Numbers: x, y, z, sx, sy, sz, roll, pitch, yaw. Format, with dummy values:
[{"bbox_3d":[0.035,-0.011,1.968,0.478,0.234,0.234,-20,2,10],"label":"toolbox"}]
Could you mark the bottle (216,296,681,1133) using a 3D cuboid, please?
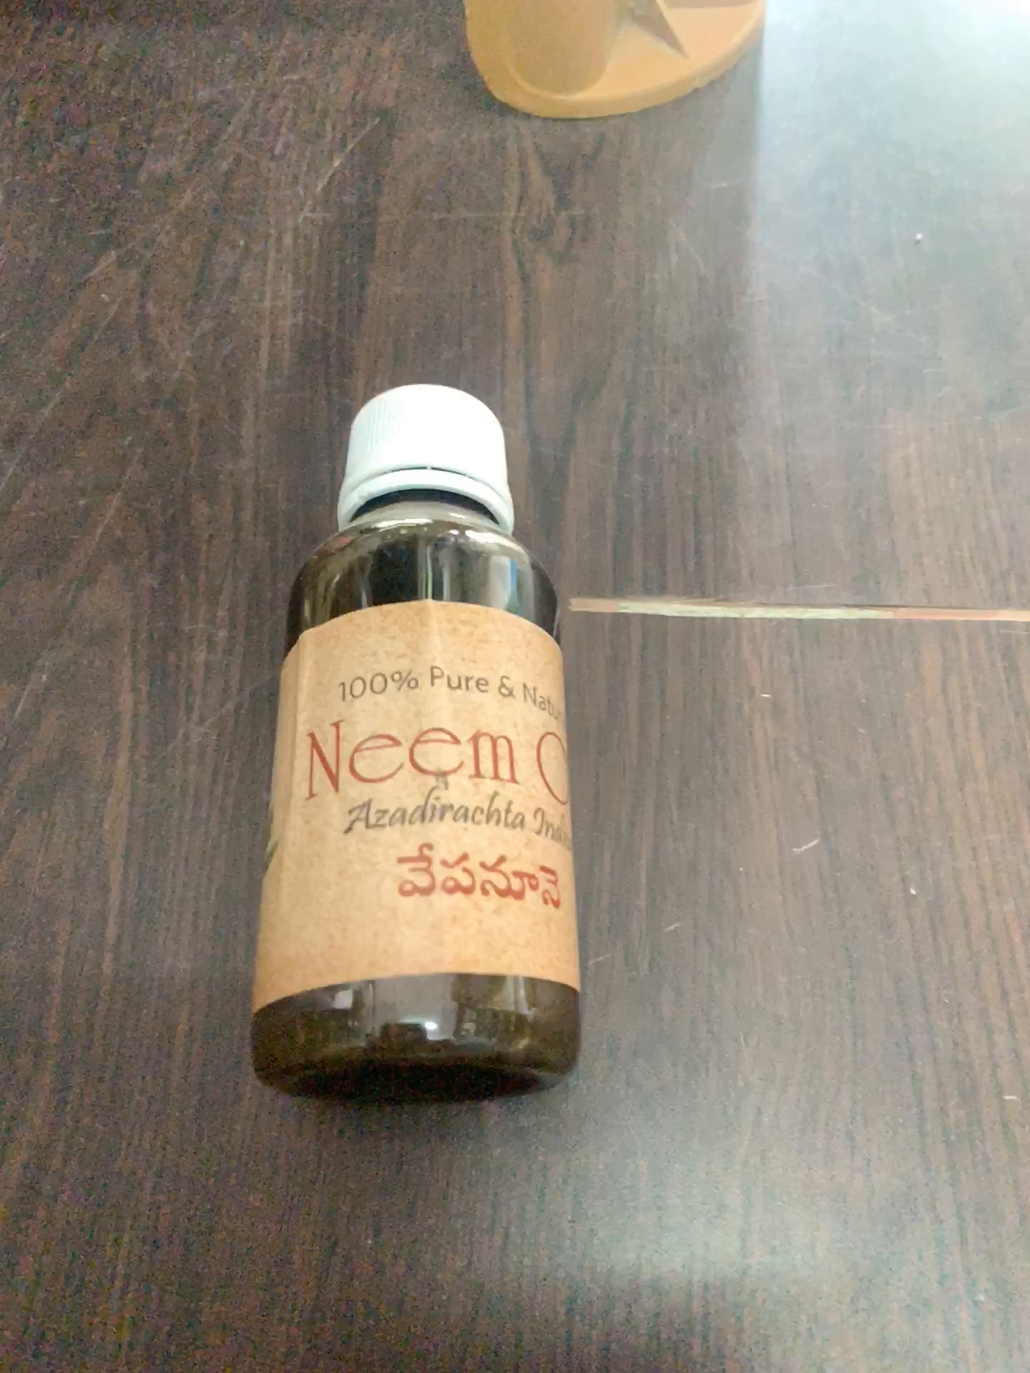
[{"bbox_3d":[-0.014,0.002,0.168,0.050,0.040,0.120,8,59,-20],"label":"bottle"}]
